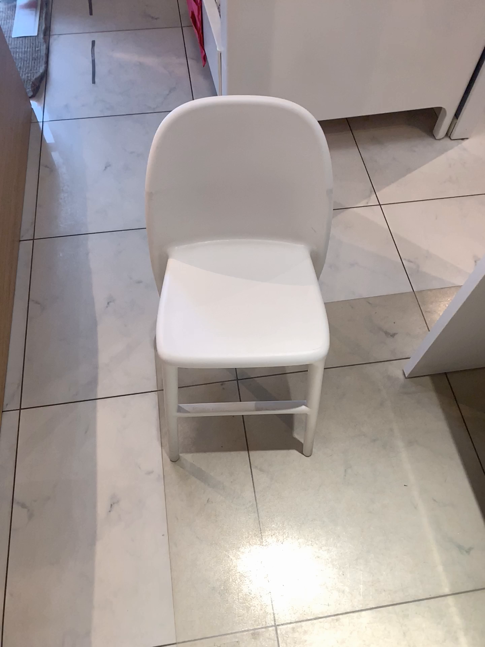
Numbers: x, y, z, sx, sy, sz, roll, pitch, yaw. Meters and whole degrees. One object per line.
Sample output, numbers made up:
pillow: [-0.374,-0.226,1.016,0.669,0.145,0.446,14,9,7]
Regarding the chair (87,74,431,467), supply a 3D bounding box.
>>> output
chair: [0.008,-0.046,1.043,0.430,0.698,0.501,-1,59,-2]
